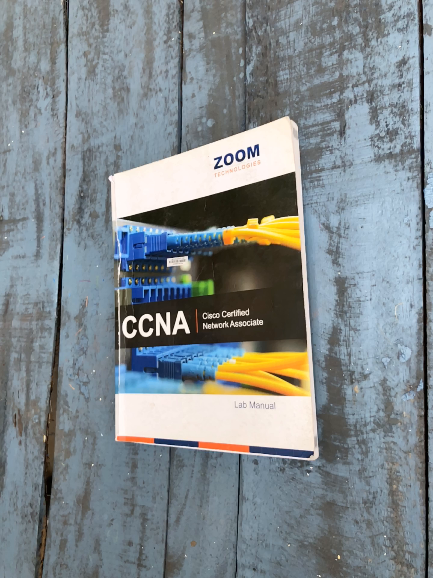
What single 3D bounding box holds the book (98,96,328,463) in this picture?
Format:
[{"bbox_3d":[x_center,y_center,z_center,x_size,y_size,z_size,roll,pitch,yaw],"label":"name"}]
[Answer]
[{"bbox_3d":[-0.015,-0.002,0.404,0.201,0.030,0.260,-7,79,33],"label":"book"}]
